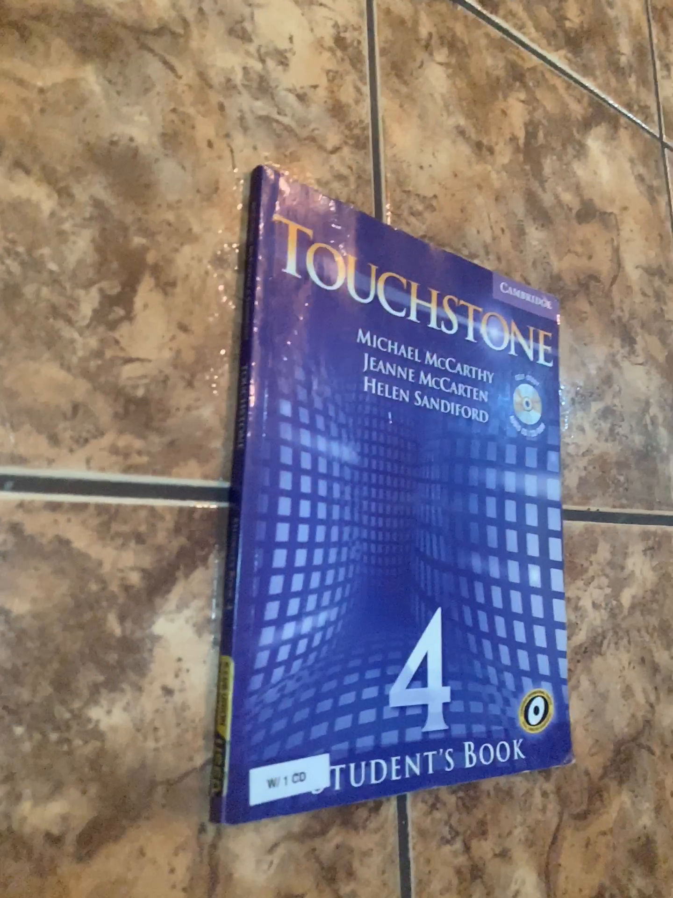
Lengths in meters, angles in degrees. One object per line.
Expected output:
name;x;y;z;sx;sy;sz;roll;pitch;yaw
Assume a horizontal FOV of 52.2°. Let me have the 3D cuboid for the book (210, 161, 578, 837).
book;0.046;0.023;0.346;0.220;0.010;0.275;10;75;-36
